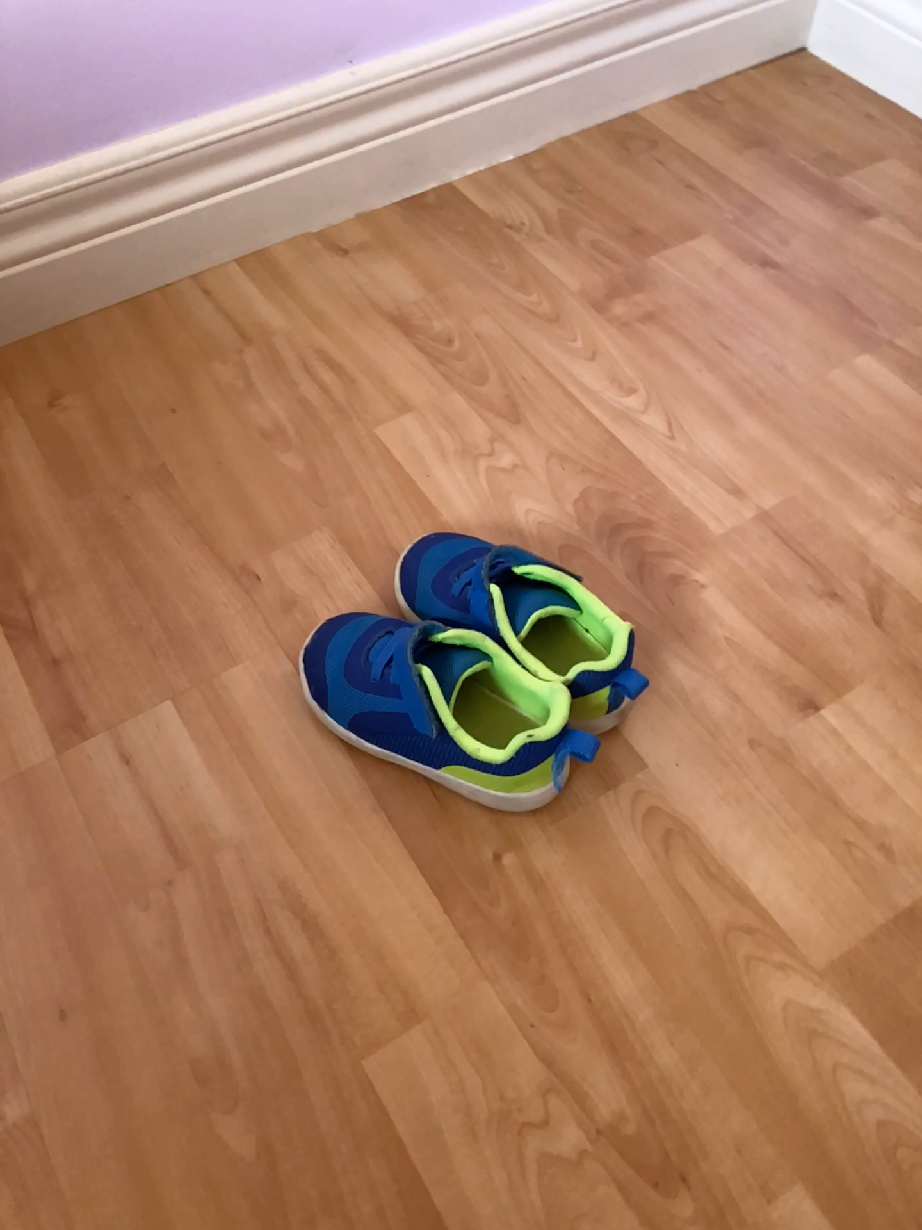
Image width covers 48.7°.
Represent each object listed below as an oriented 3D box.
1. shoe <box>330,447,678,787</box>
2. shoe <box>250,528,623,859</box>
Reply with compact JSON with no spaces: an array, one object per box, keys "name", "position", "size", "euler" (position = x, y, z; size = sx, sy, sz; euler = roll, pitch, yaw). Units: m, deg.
[{"name":"shoe","position":[0.019,-0.003,0.530],"size":[0.160,0.070,0.080],"euler":[38,63,26]},{"name":"shoe","position":[-0.012,0.036,0.512],"size":[0.160,0.070,0.080],"euler":[26,59,20]}]
